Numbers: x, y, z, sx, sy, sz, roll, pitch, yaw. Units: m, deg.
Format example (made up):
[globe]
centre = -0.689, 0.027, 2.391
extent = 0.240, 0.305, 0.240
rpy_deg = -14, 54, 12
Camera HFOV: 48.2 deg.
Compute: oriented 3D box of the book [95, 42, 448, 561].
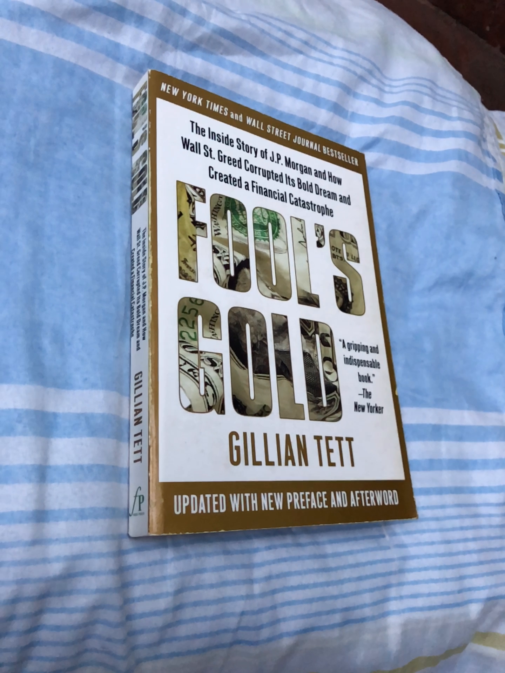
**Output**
[book]
centre = 0.011, -0.015, 0.280
extent = 0.151, 0.040, 0.230
rpy_deg = 12, 64, -30
